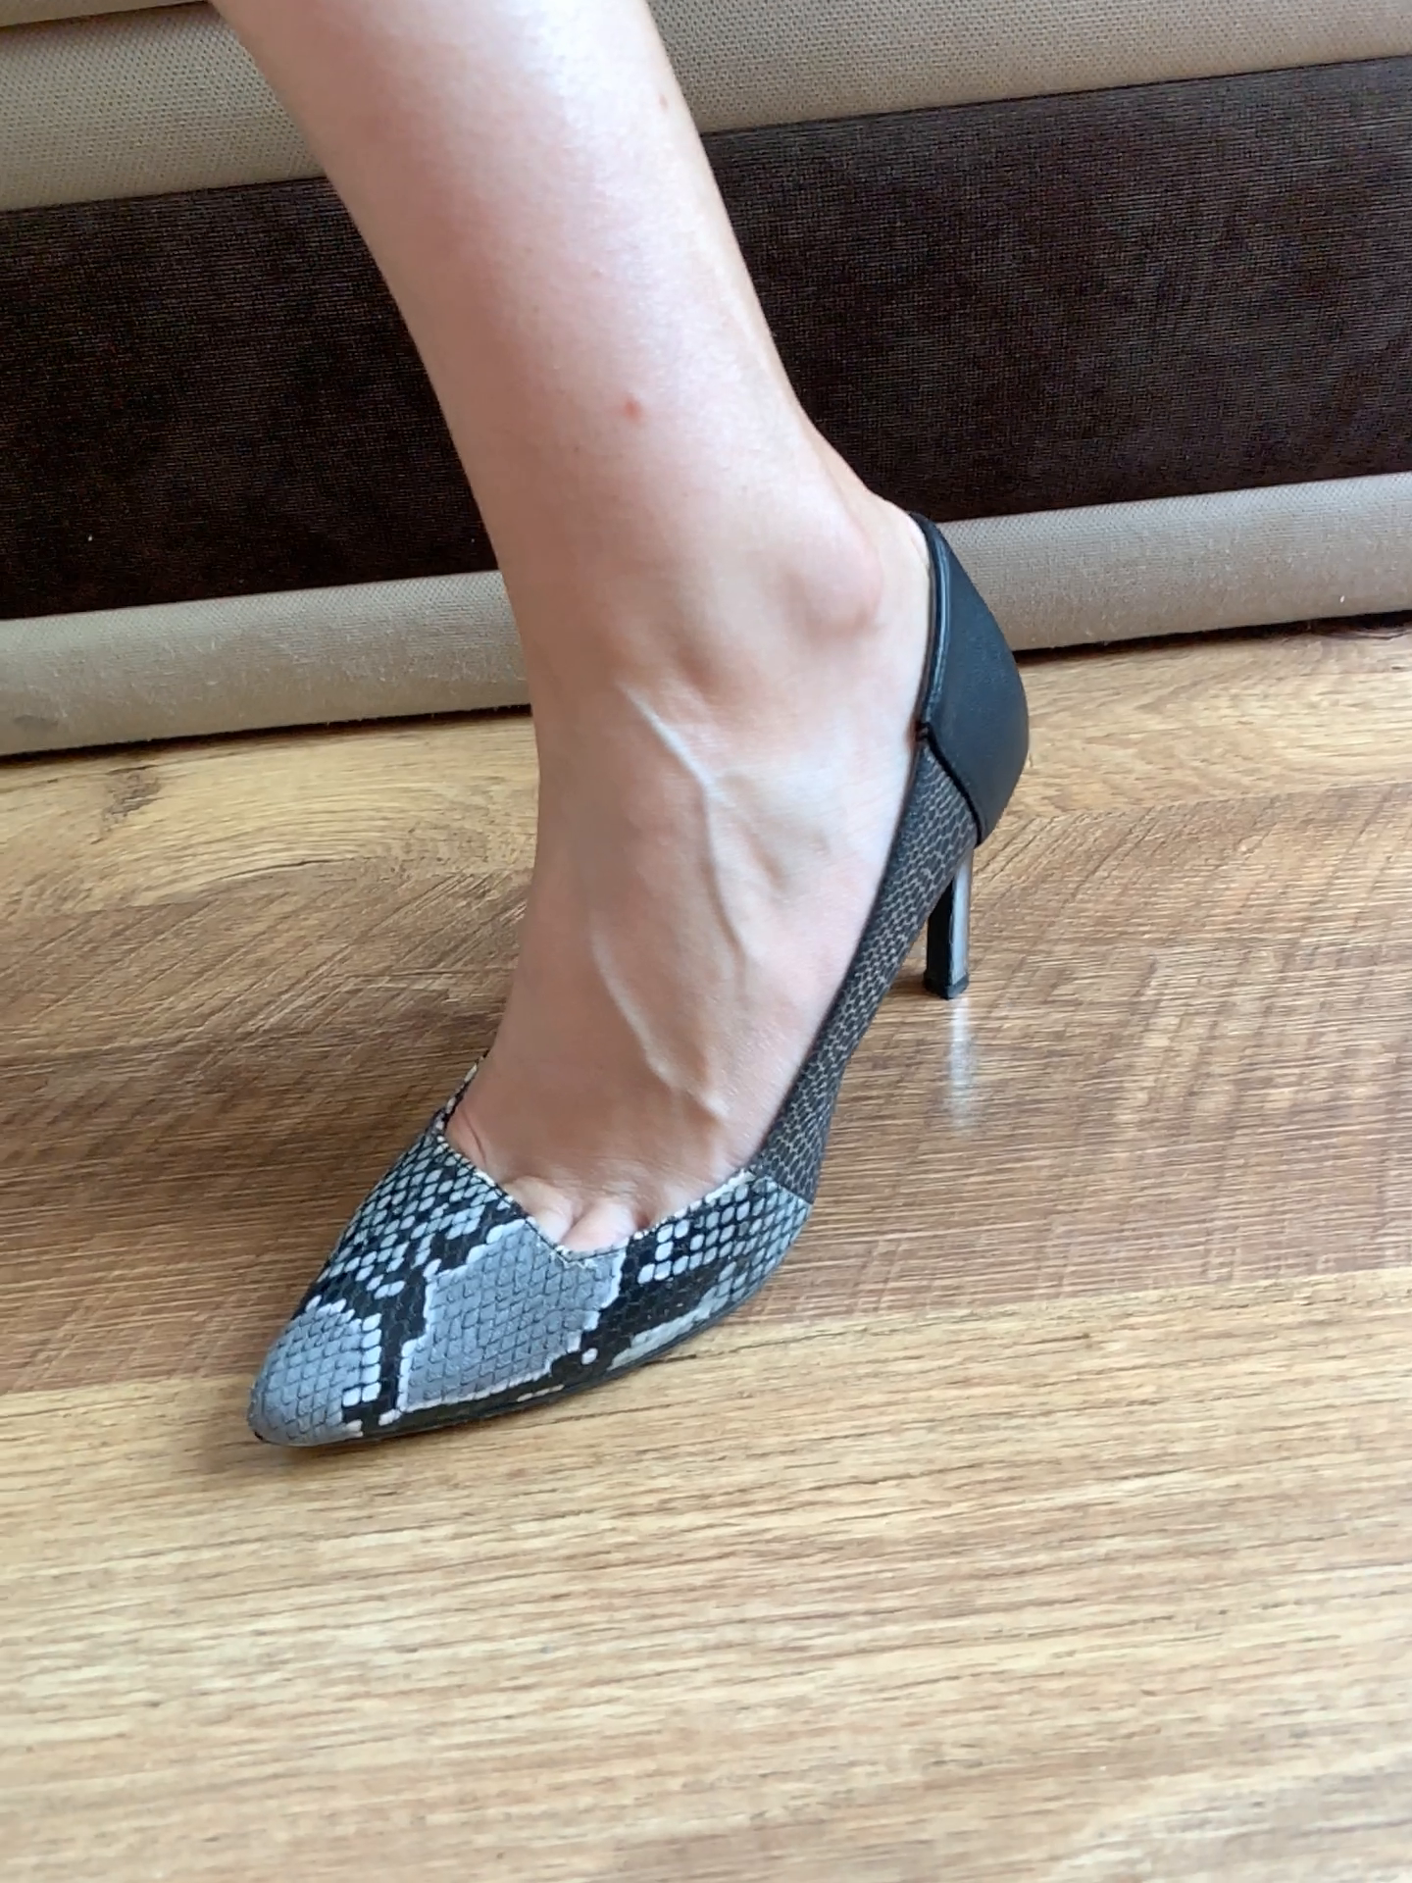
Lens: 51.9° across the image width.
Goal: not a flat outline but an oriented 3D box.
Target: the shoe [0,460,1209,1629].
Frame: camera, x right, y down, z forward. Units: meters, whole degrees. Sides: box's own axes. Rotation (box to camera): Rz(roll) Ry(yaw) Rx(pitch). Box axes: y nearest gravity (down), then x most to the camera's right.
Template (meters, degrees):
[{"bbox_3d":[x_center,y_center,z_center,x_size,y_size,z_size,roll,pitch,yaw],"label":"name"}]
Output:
[{"bbox_3d":[-0.009,-0.001,0.308,0.250,0.109,0.090,-33,45,-30],"label":"shoe"}]
